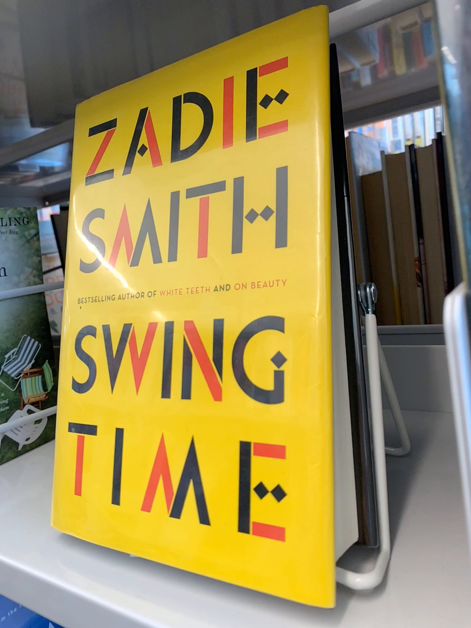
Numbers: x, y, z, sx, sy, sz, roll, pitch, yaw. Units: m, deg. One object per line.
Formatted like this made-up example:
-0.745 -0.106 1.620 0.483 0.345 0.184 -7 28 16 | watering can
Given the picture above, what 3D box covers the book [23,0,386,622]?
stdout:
-0.019 -0.006 0.247 0.168 0.233 0.060 -4 -9 32 | book
